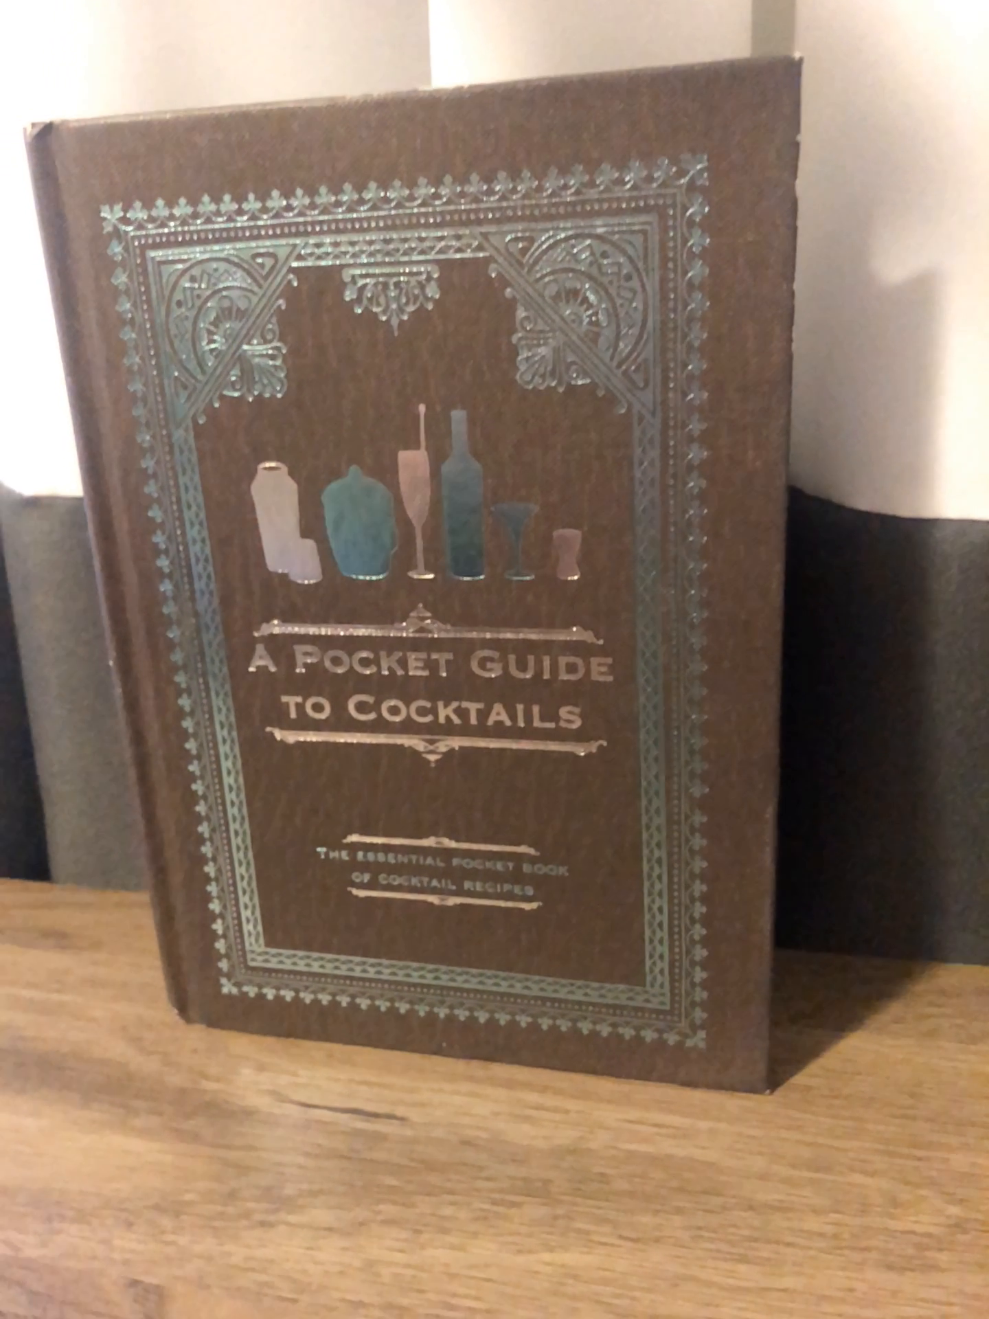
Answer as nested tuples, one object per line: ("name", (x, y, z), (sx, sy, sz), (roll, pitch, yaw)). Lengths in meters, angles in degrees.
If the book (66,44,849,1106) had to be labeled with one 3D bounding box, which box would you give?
("book", (-0.004, -0.006, 0.228), (0.136, 0.200, 0.022), (1, 19, 14))
